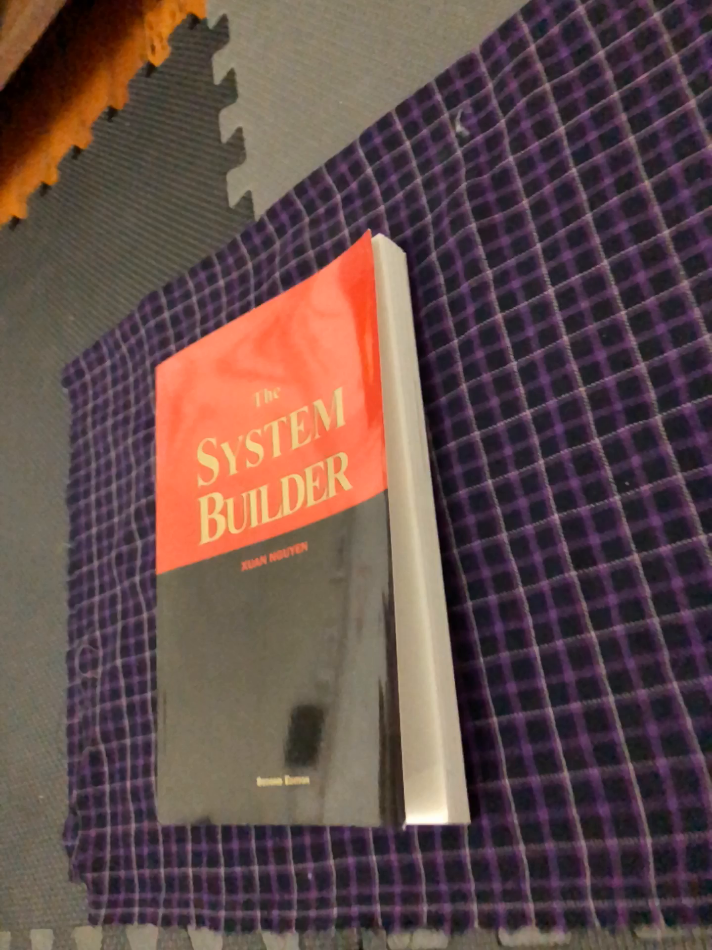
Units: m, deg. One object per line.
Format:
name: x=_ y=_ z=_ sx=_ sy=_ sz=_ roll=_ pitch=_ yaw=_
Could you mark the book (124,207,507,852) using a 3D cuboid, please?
book: x=-0.040 y=0.034 z=0.379 sx=0.200 sy=0.030 sz=0.260 roll=-20 pitch=65 yaw=38
